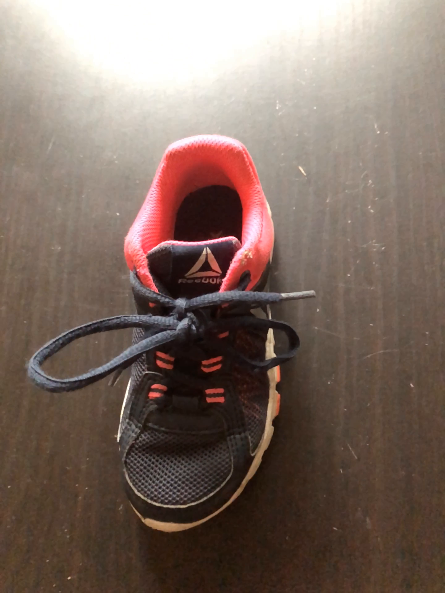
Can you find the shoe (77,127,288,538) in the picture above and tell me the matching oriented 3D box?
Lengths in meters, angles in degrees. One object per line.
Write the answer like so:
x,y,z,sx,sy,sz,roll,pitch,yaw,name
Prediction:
-0.010,0.014,0.264,0.080,0.070,0.193,3,73,6,shoe
